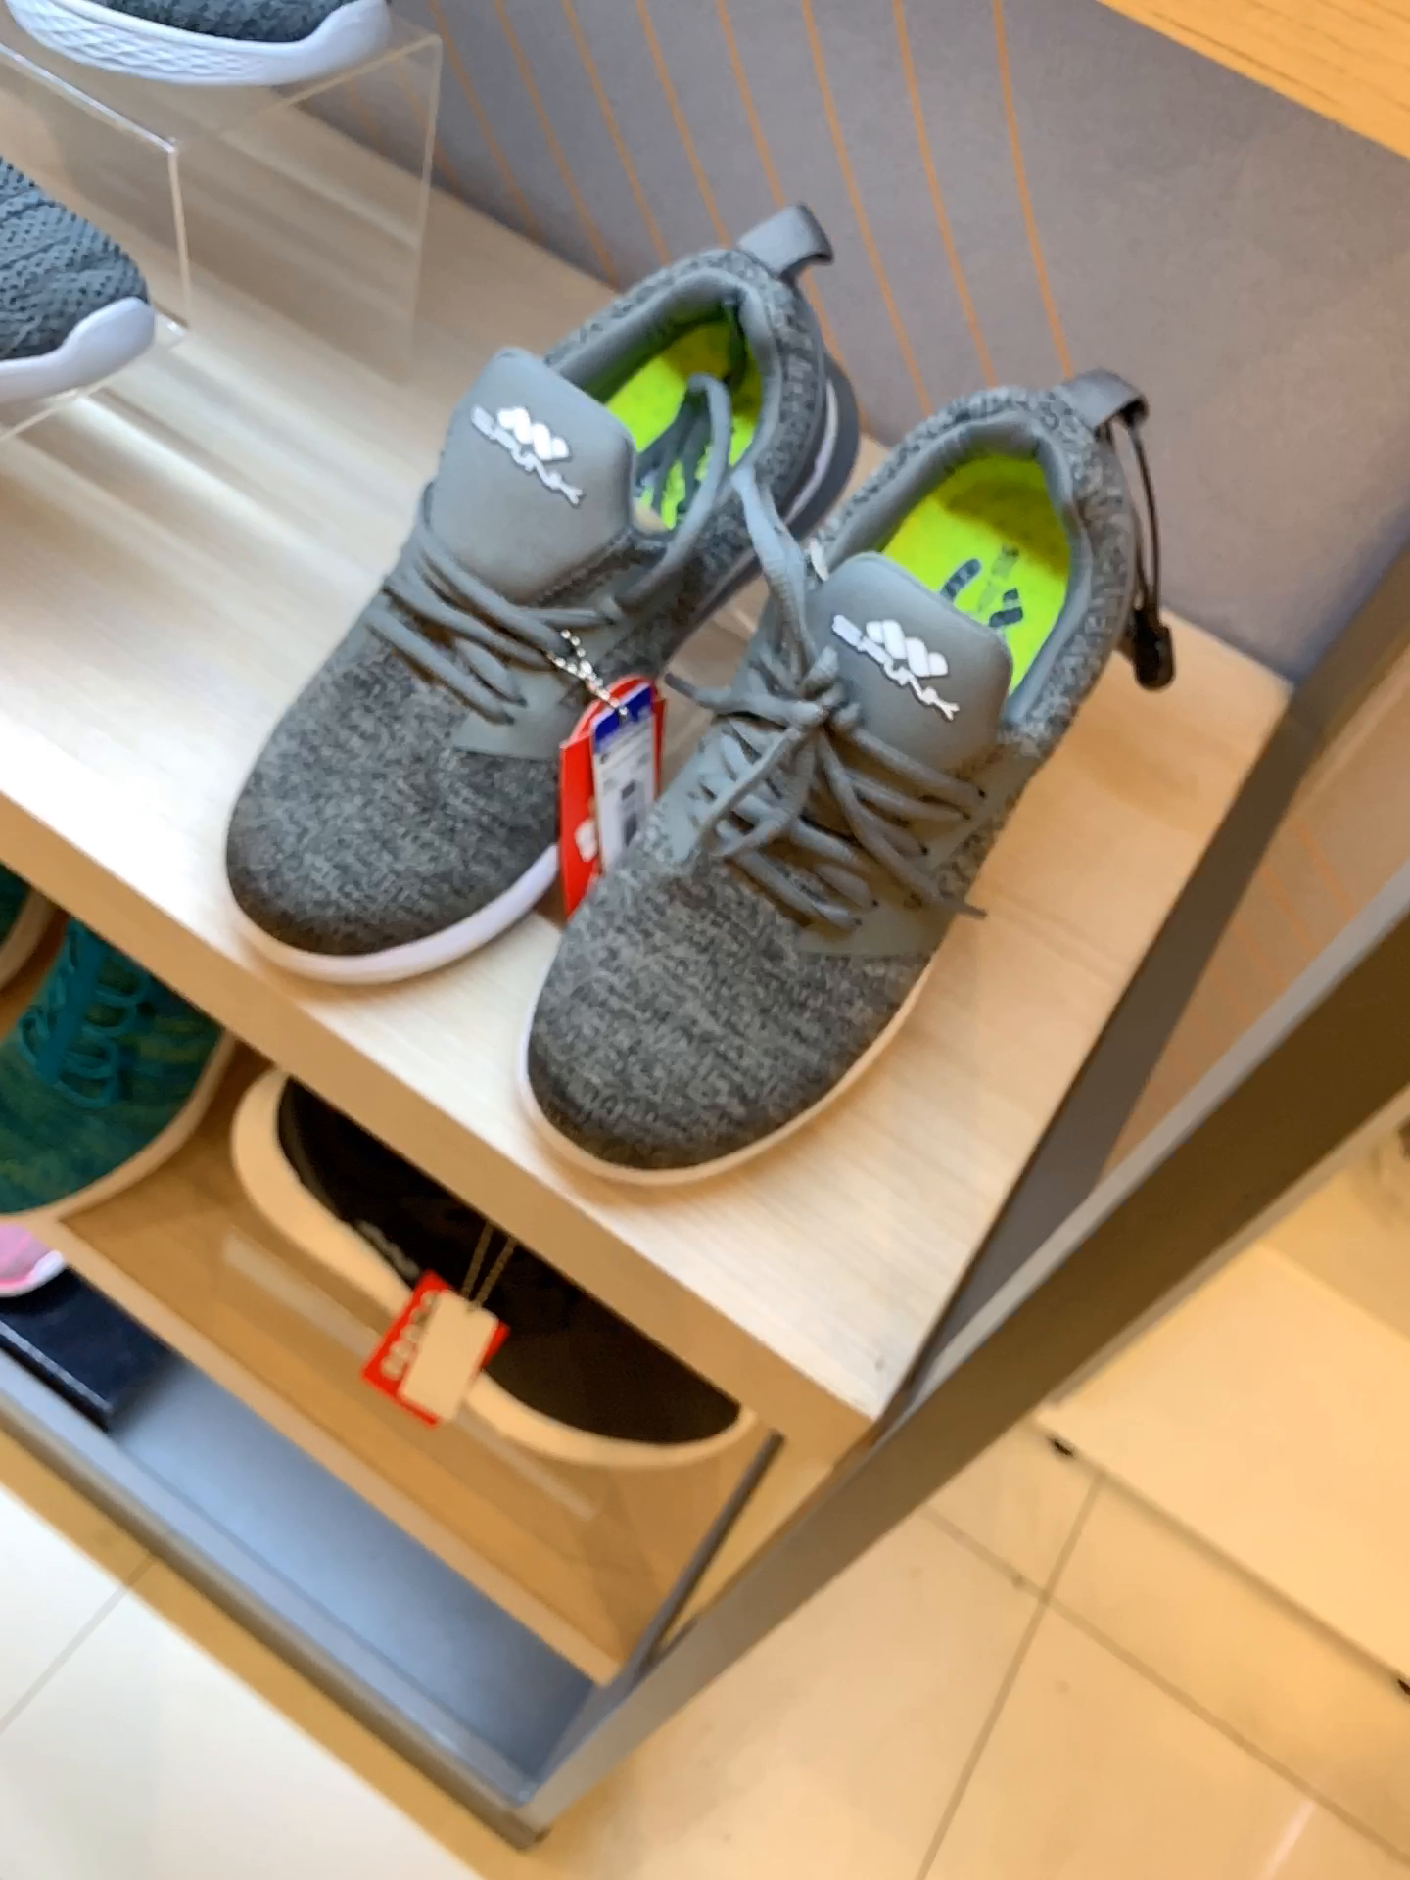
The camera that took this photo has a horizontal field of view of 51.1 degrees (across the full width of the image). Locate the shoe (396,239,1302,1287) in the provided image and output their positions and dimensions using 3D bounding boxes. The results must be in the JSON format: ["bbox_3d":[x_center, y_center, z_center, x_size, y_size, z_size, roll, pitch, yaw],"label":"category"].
[{"bbox_3d":[0.037,-0.041,0.384,0.090,0.080,0.240,35,89,9],"label":"shoe"}]

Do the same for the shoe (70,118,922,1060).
[{"bbox_3d":[-0.047,-0.090,0.406,0.080,0.080,0.240,38,86,14],"label":"shoe"}]
